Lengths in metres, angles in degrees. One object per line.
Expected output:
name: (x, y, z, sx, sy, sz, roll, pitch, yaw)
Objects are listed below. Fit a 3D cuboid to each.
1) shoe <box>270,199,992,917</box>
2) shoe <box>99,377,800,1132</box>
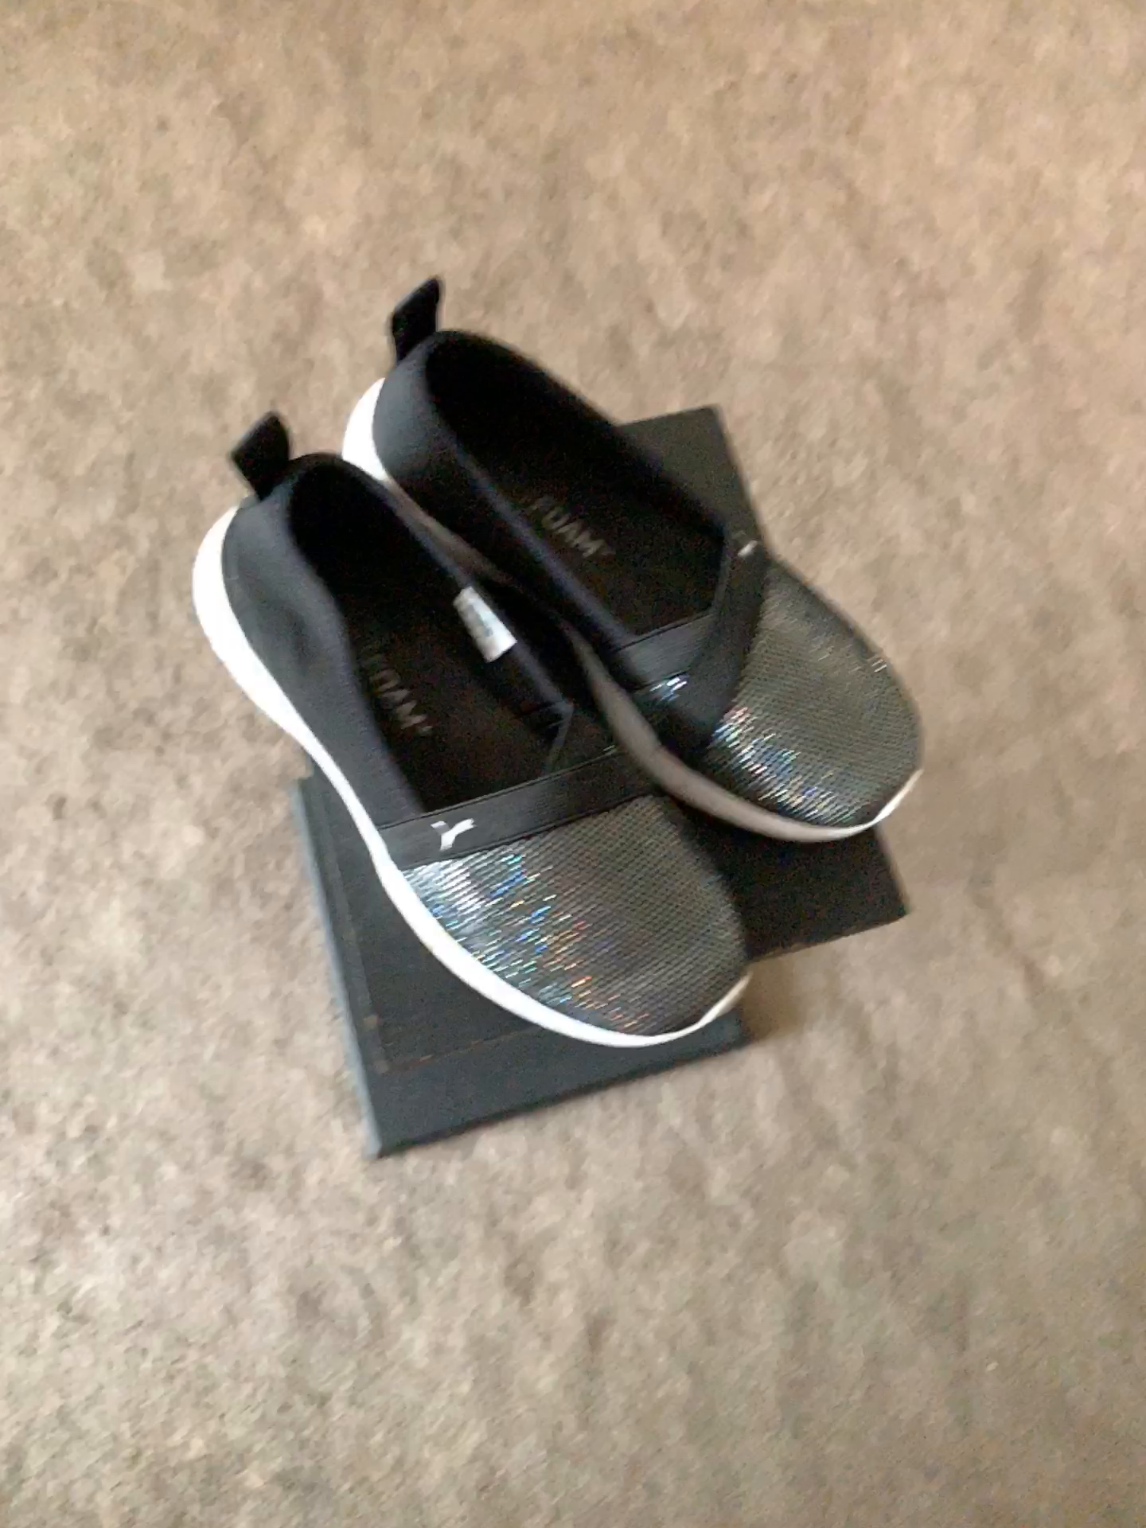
shoe: (0.017, -0.066, 0.438, 0.260, 0.080, 0.090, 43, 72, -5)
shoe: (-0.044, 0.000, 0.413, 0.090, 0.080, 0.240, -40, 90, -16)
